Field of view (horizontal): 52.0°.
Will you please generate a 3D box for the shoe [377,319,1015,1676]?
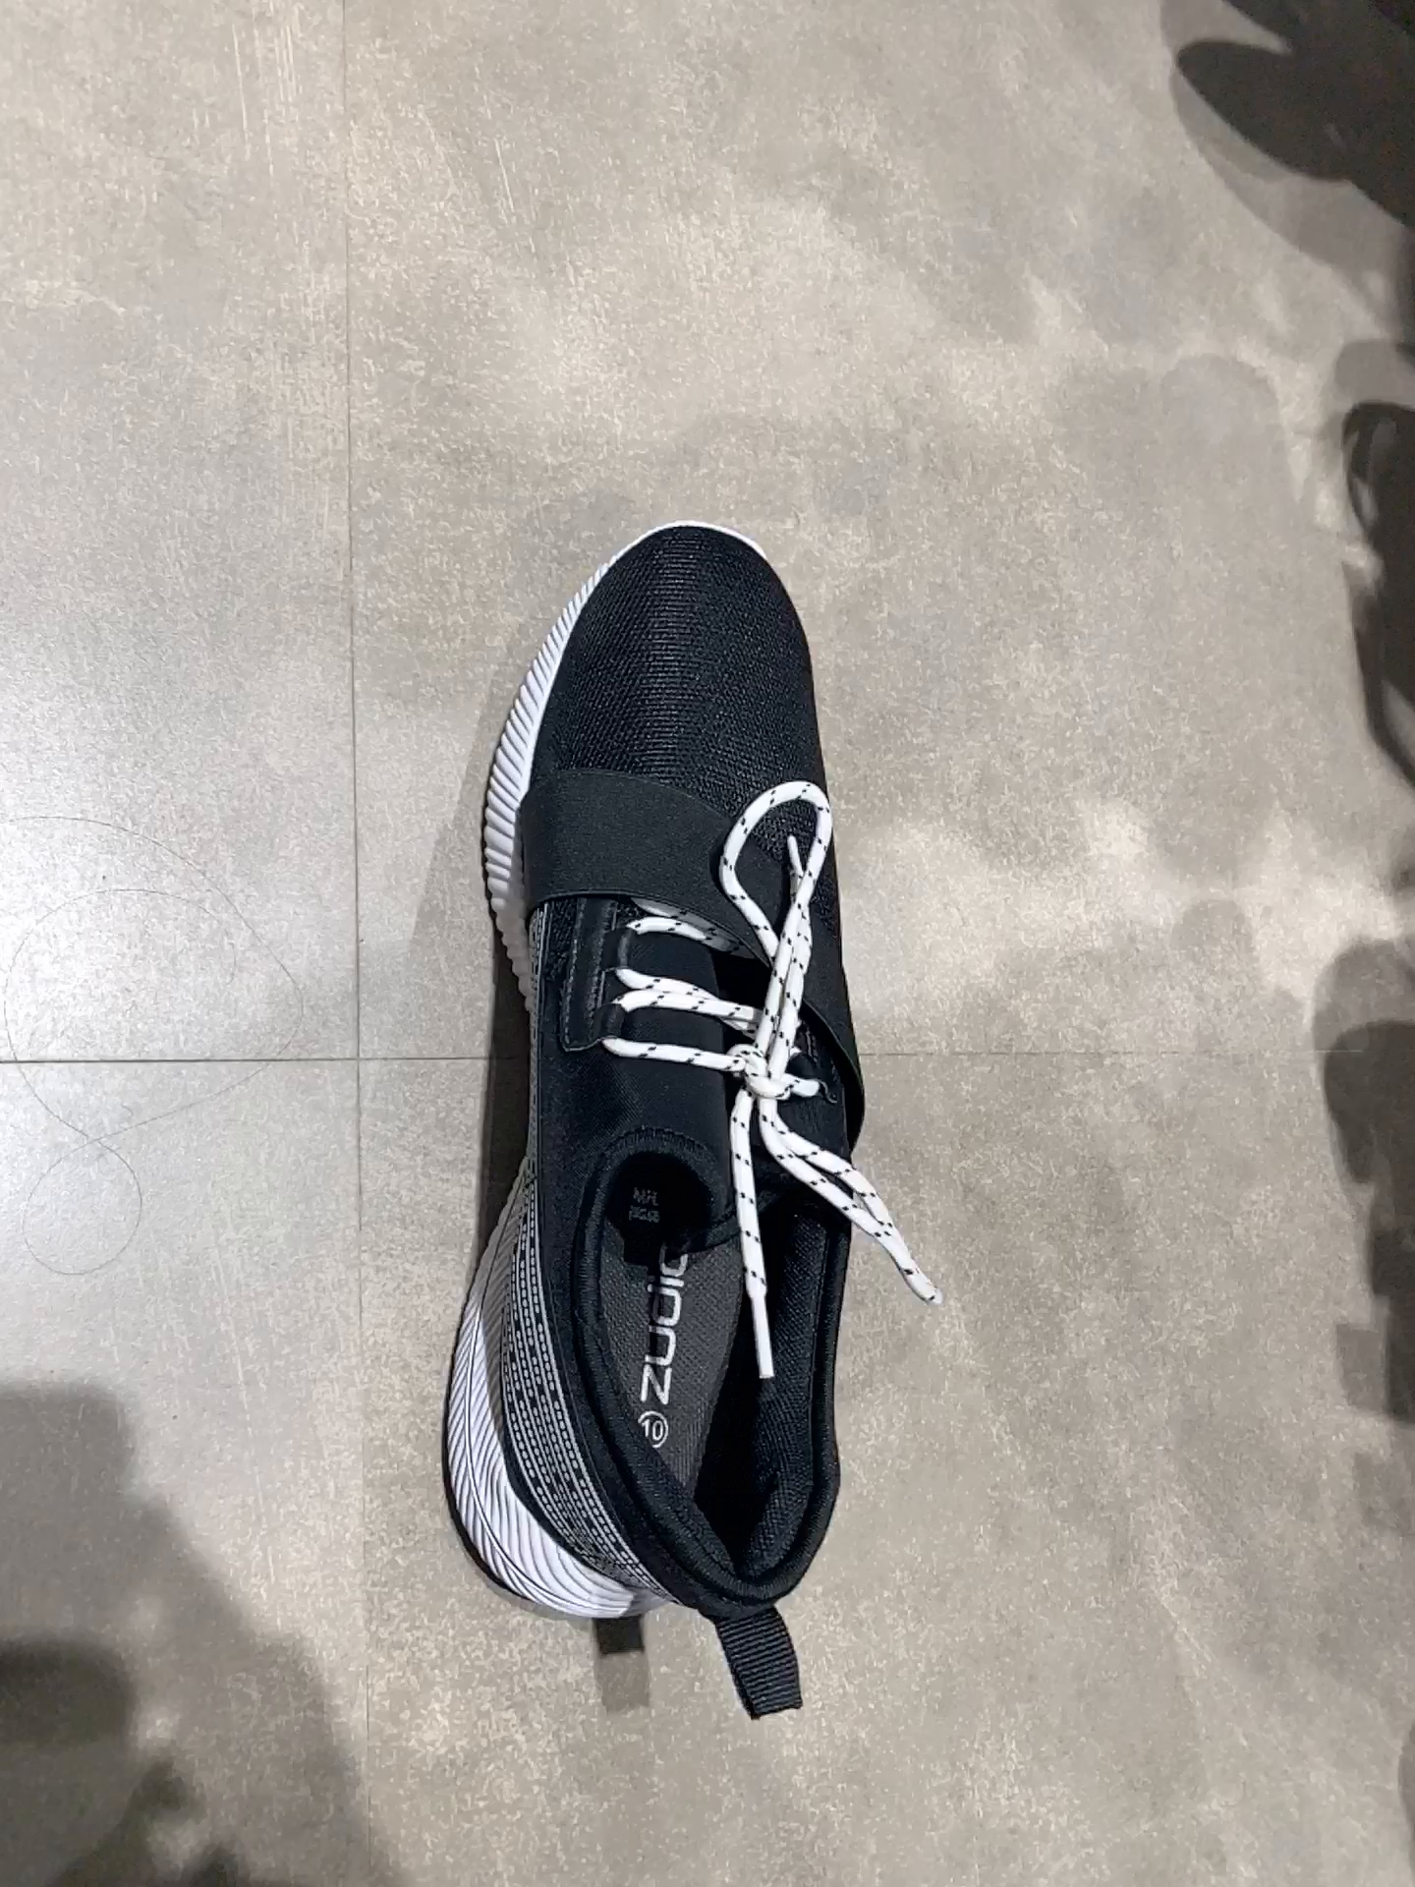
[{"bbox_3d":[-0.006,0.016,0.402,0.116,0.132,0.304,8,76,-25],"label":"shoe"}]
